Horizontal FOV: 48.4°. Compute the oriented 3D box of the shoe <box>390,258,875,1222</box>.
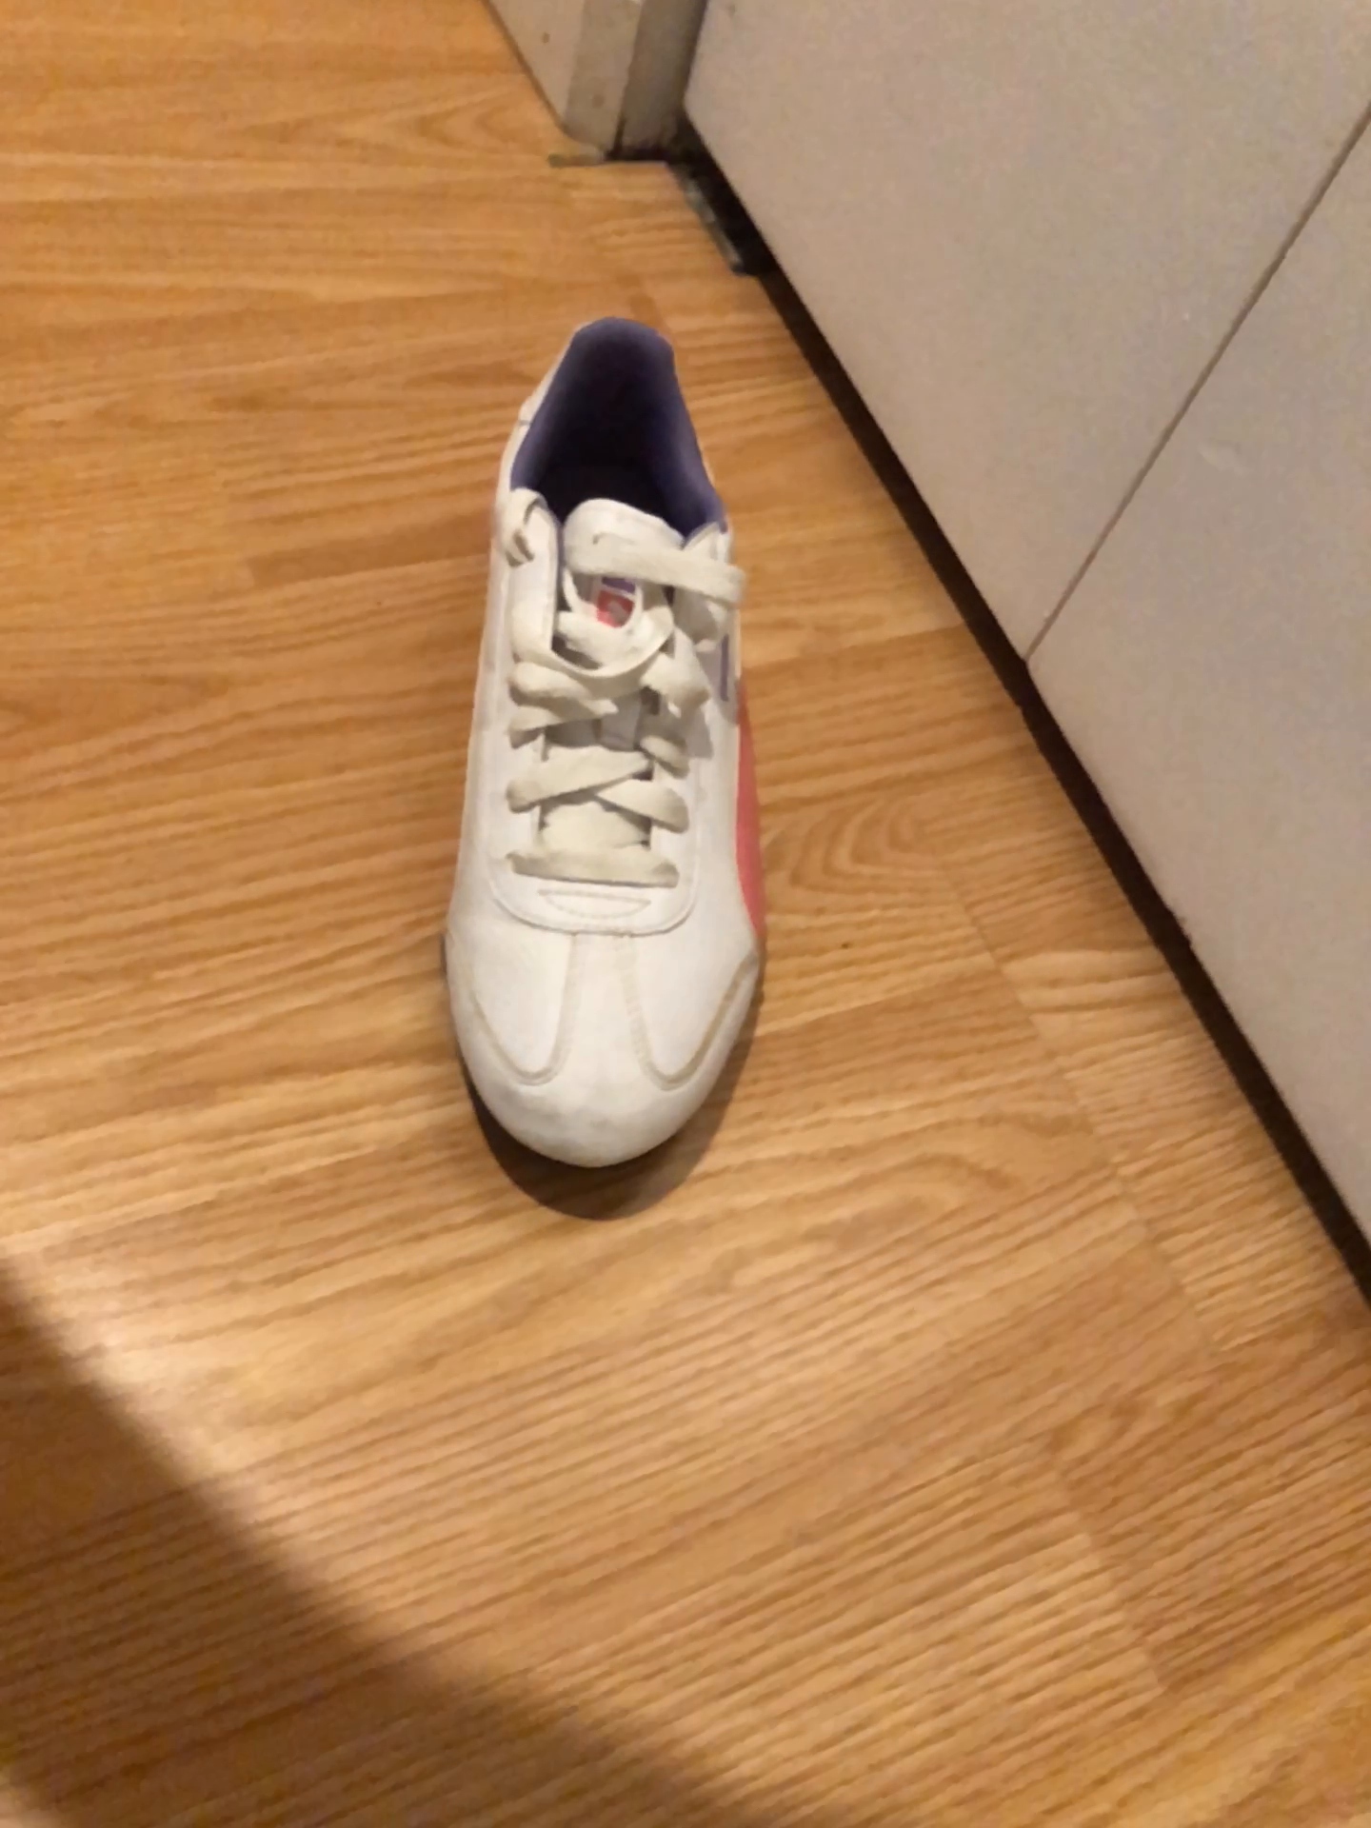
[{"bbox_3d":[-0.018,-0.056,0.425,0.100,0.080,0.261,6,58,-11],"label":"shoe"}]
